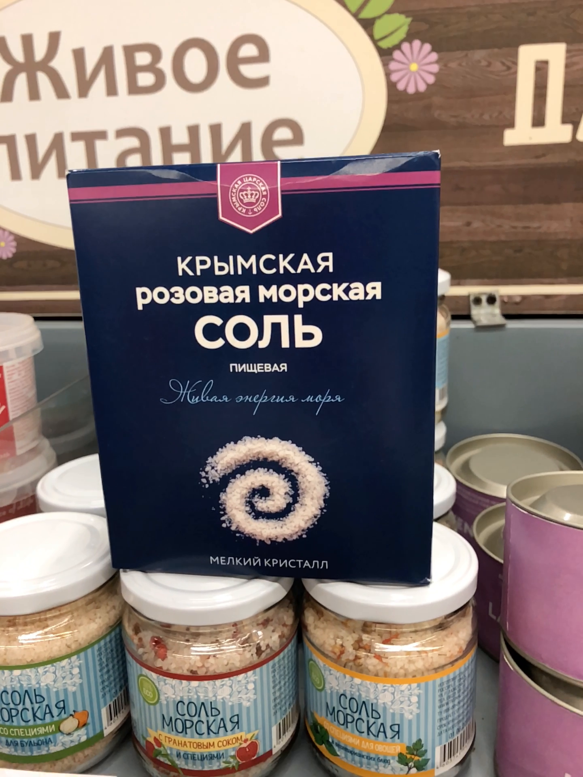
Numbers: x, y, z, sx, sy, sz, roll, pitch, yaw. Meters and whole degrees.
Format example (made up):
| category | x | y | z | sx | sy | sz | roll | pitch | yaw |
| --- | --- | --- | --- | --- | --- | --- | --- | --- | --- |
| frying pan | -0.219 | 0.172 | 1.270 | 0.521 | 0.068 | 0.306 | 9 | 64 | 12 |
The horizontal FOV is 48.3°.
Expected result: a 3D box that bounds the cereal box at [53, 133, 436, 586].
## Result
| category | x | y | z | sx | sy | sz | roll | pitch | yaw |
| --- | --- | --- | --- | --- | --- | --- | --- | --- | --- |
| cereal box | -0.012 | -0.009 | 0.237 | 0.120 | 0.149 | 0.040 | 0 | 15 | 8 |
